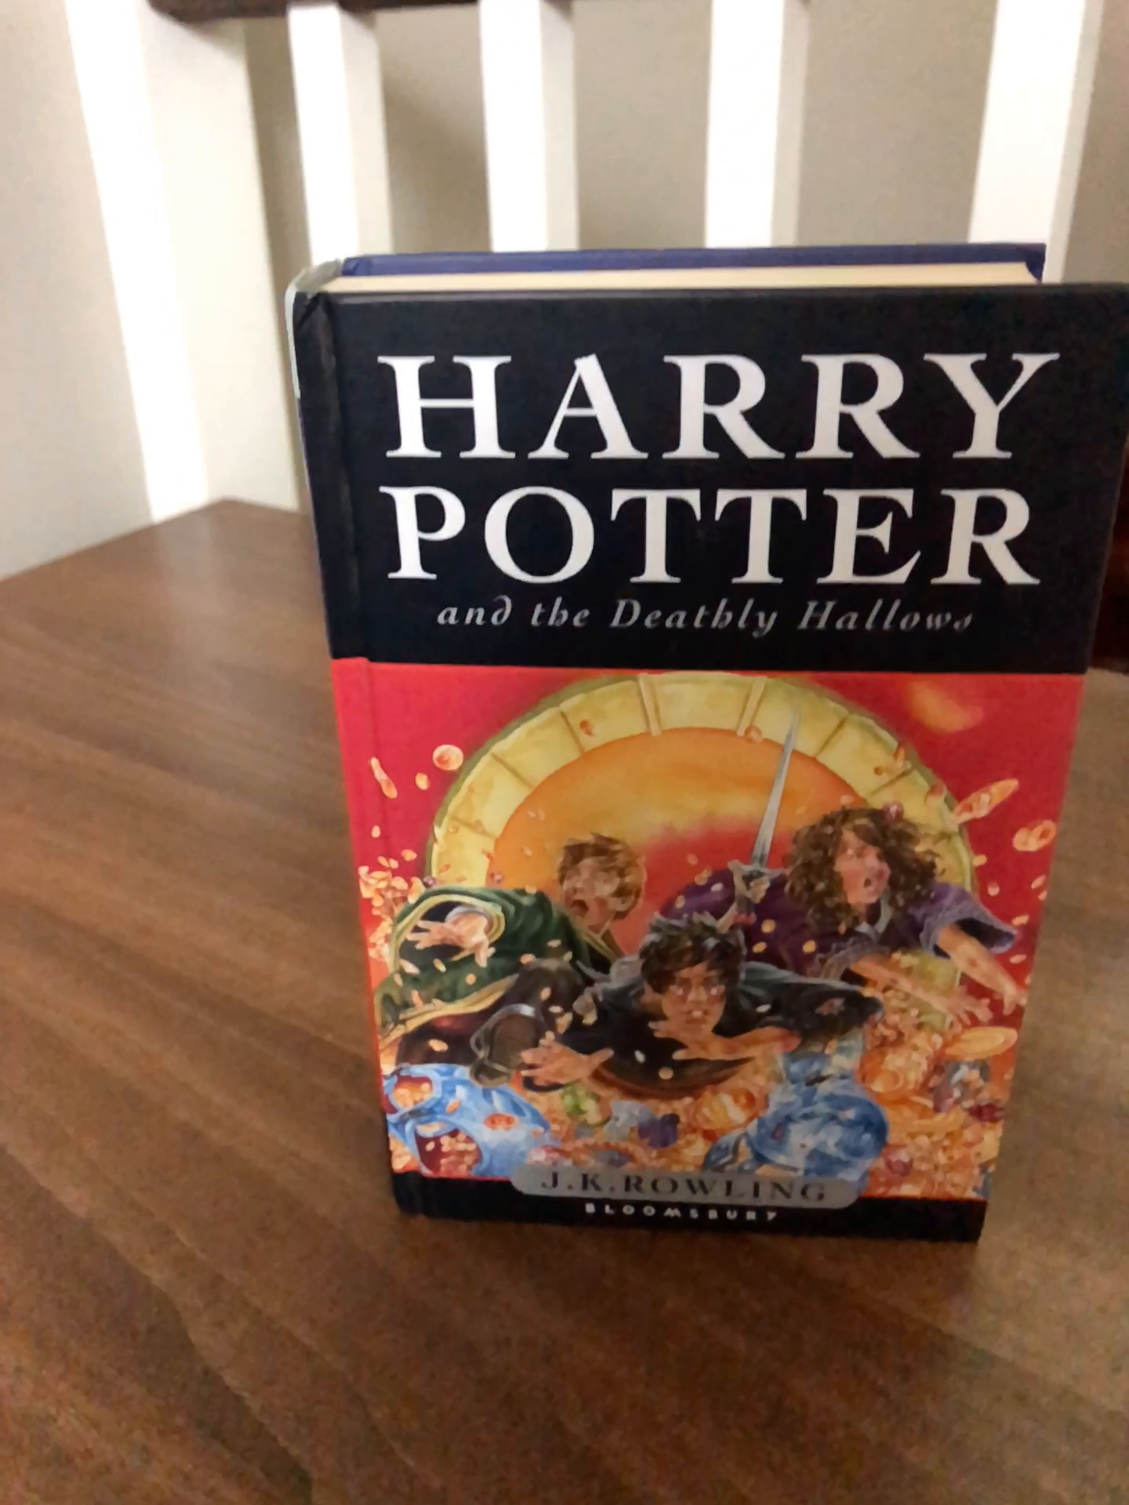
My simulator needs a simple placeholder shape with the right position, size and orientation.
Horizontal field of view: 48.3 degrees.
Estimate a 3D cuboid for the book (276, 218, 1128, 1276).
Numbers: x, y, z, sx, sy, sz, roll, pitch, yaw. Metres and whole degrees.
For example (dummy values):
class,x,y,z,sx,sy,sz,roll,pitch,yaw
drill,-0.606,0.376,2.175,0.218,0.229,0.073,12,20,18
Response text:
class,x,y,z,sx,sy,sz,roll,pitch,yaw
book,0.030,0.005,0.262,0.140,0.209,0.060,2,26,6
